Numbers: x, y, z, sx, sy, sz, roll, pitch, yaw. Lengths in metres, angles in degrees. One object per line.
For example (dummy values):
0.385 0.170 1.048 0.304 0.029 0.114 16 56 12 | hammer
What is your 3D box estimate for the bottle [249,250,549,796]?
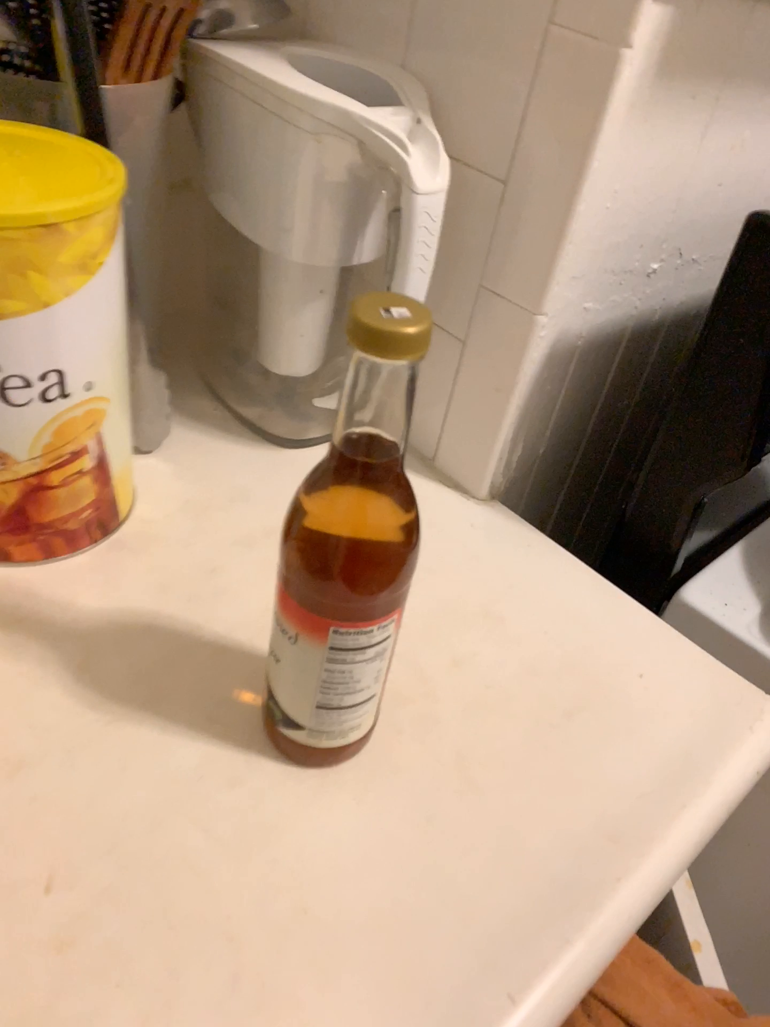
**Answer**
-0.011 0.019 0.340 0.070 0.239 0.070 8 38 -6 | bottle
